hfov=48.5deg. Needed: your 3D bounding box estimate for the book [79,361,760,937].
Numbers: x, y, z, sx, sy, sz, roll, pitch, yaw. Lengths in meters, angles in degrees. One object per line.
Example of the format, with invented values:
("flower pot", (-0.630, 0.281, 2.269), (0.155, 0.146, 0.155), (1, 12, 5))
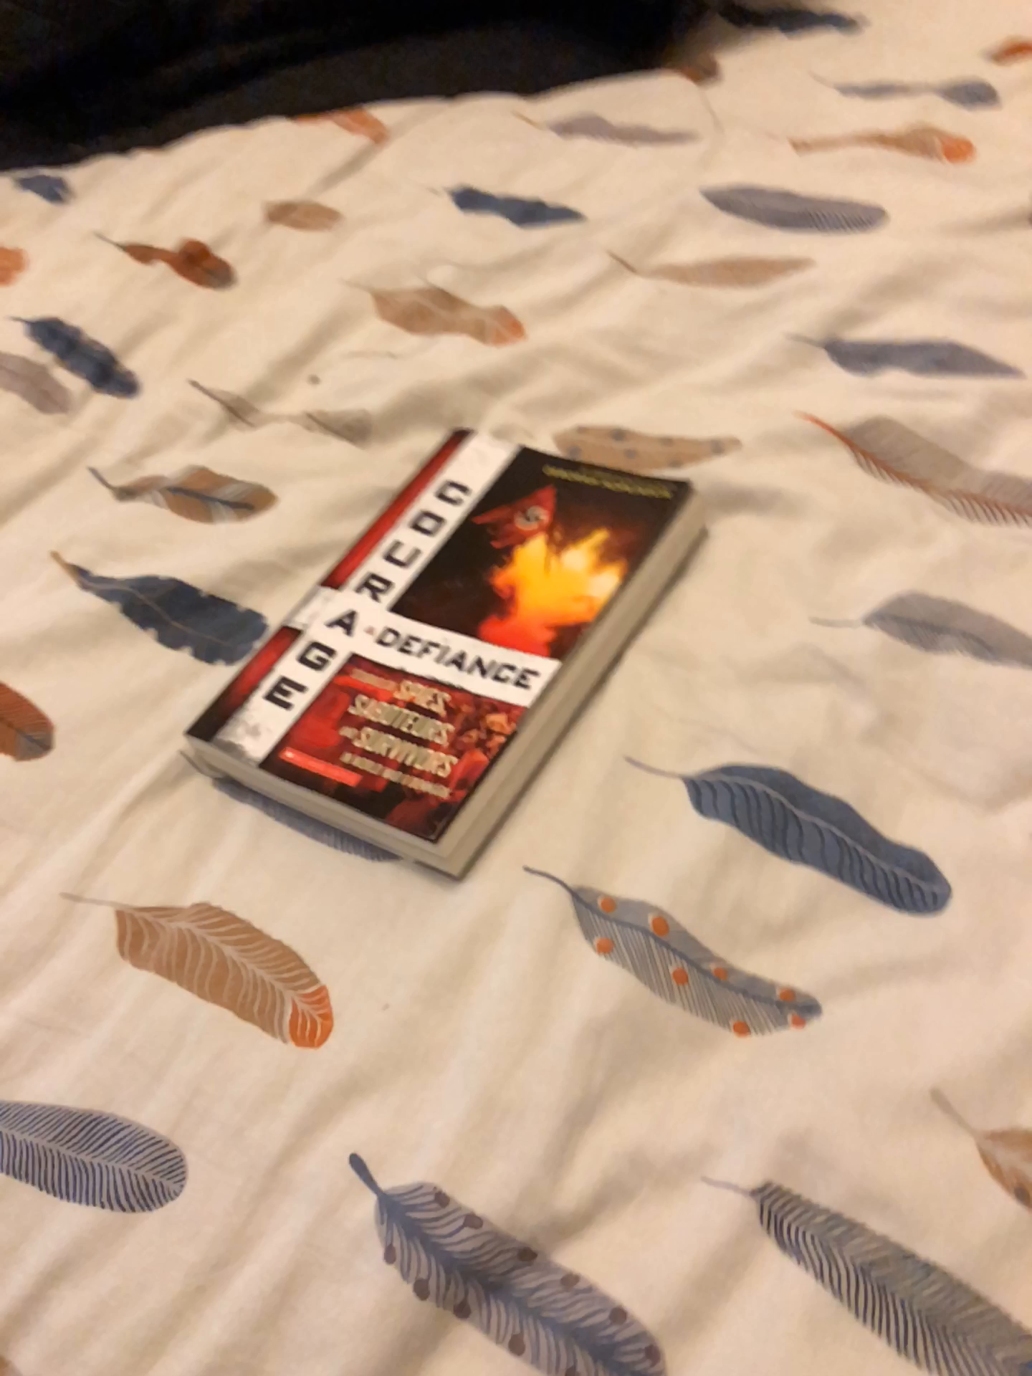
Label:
("book", (-0.035, -0.037, 0.490), (0.200, 0.020, 0.231), (21, 61, 22))
